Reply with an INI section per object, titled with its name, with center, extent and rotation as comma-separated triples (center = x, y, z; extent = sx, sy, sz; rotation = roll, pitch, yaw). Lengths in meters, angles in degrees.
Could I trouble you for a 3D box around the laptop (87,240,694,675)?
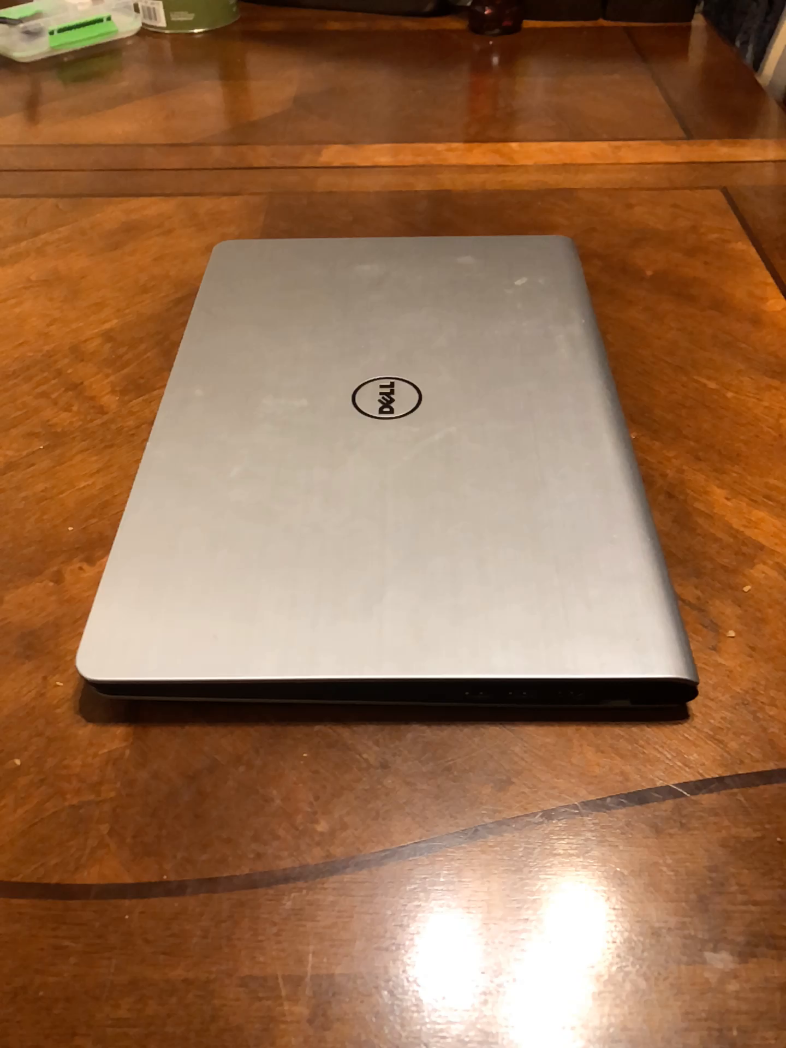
[laptop]
center = 0.000, -0.069, 0.477
extent = 0.243, 0.002, 0.366
rotation = 0, 45, 1
